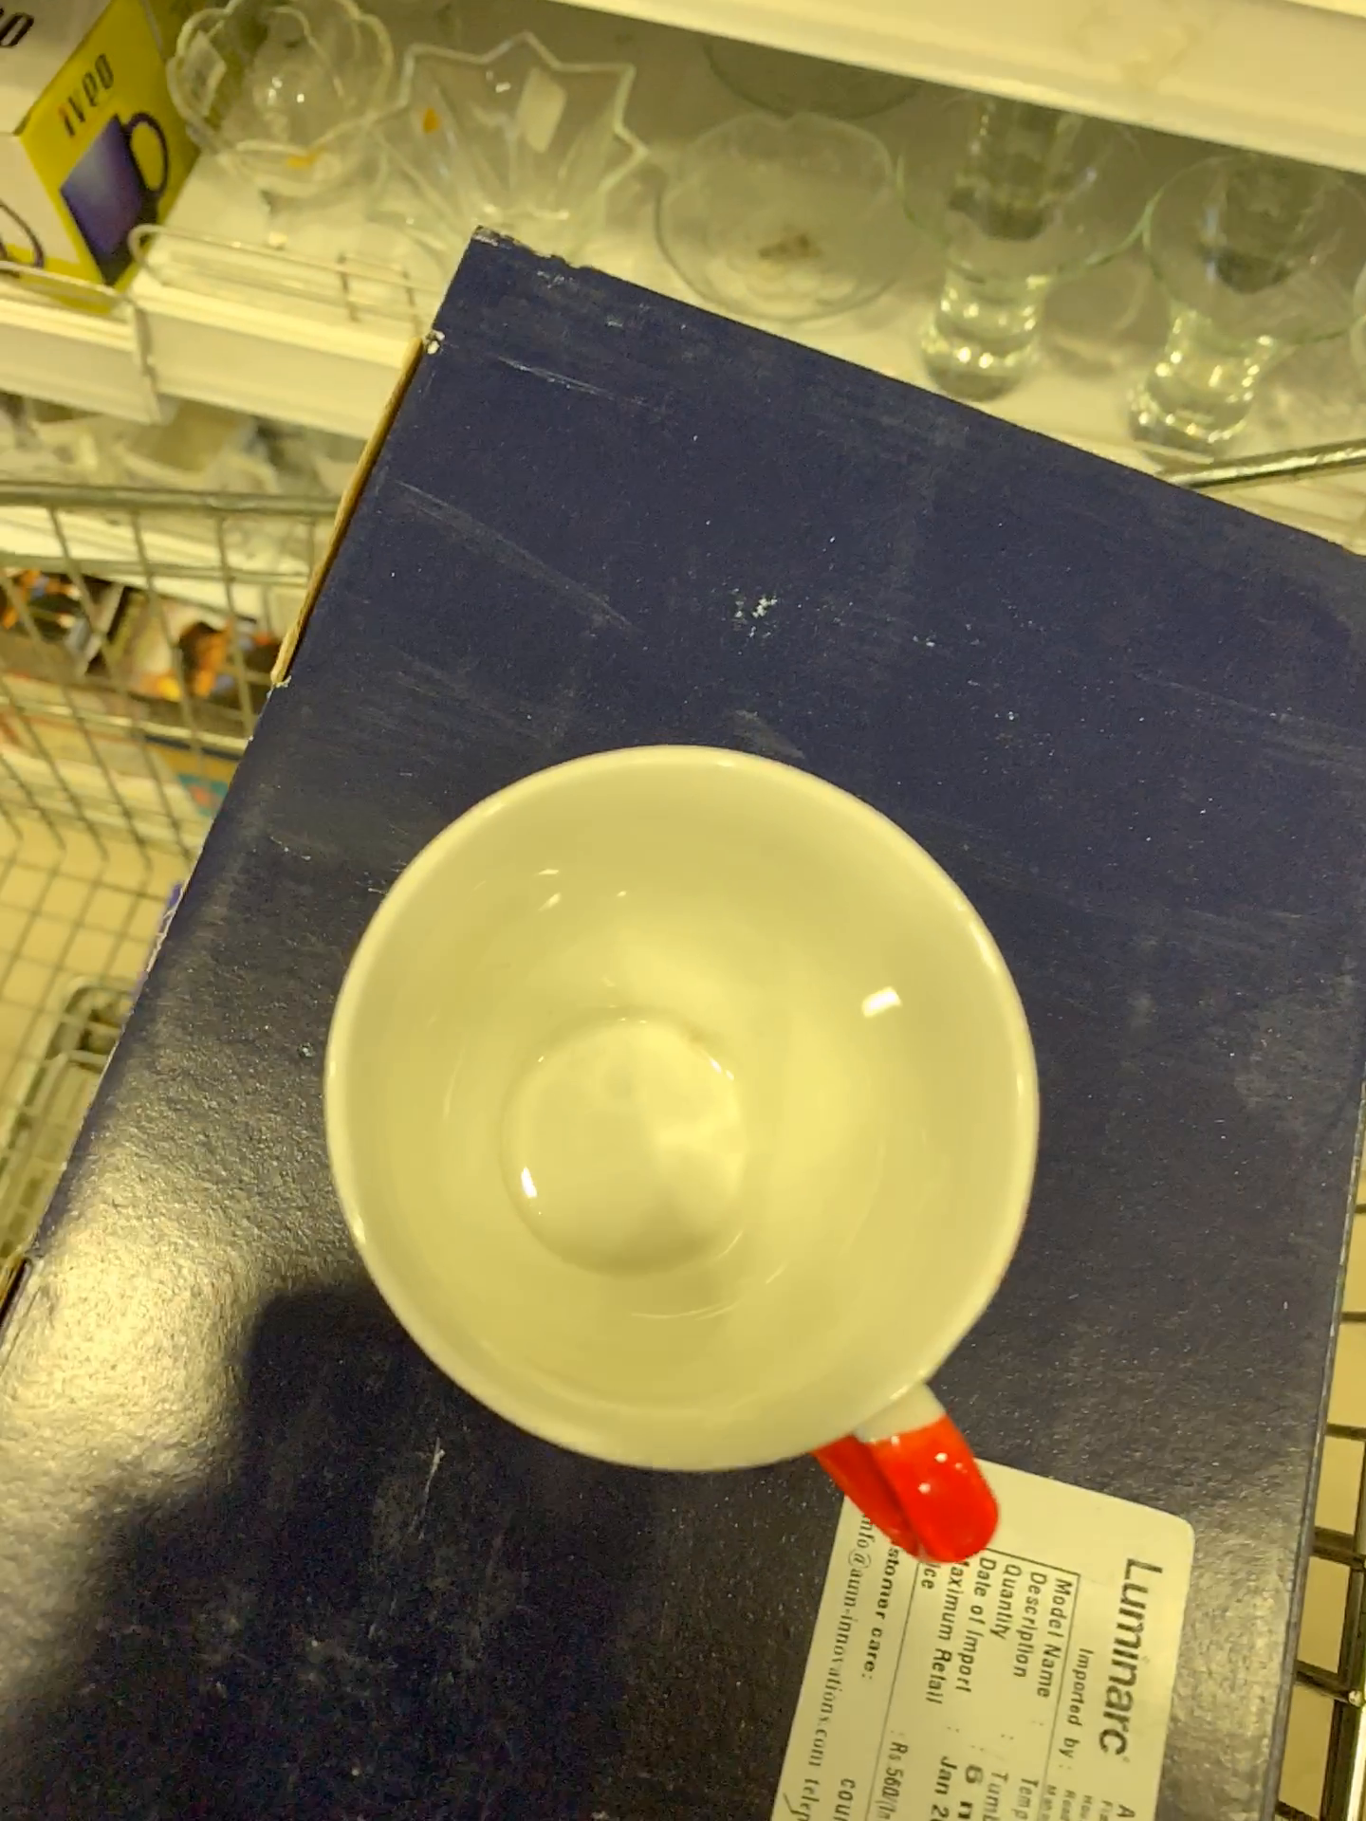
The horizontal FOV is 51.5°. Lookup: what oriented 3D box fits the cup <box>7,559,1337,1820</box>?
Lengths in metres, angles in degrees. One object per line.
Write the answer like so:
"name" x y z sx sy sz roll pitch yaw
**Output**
"cup" -0.002 0.030 0.152 0.100 0.050 0.070 45 76 6
